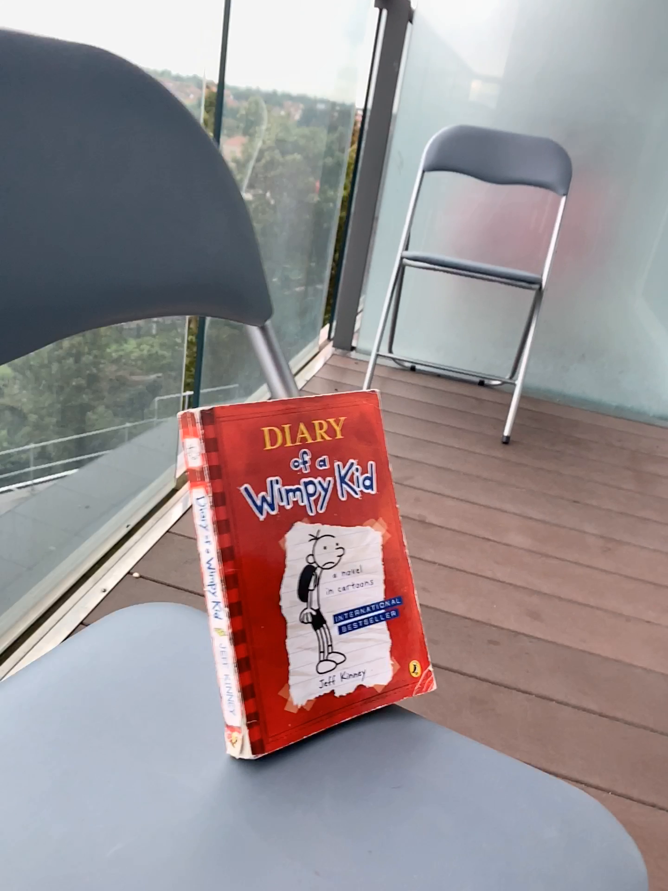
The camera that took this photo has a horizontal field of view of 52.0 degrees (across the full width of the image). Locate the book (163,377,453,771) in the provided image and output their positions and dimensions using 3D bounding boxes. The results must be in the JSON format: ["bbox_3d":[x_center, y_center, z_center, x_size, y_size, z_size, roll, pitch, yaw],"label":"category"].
[{"bbox_3d":[-0.012,0.065,0.421,0.150,0.200,0.040,-8,-2,-33],"label":"book"}]
